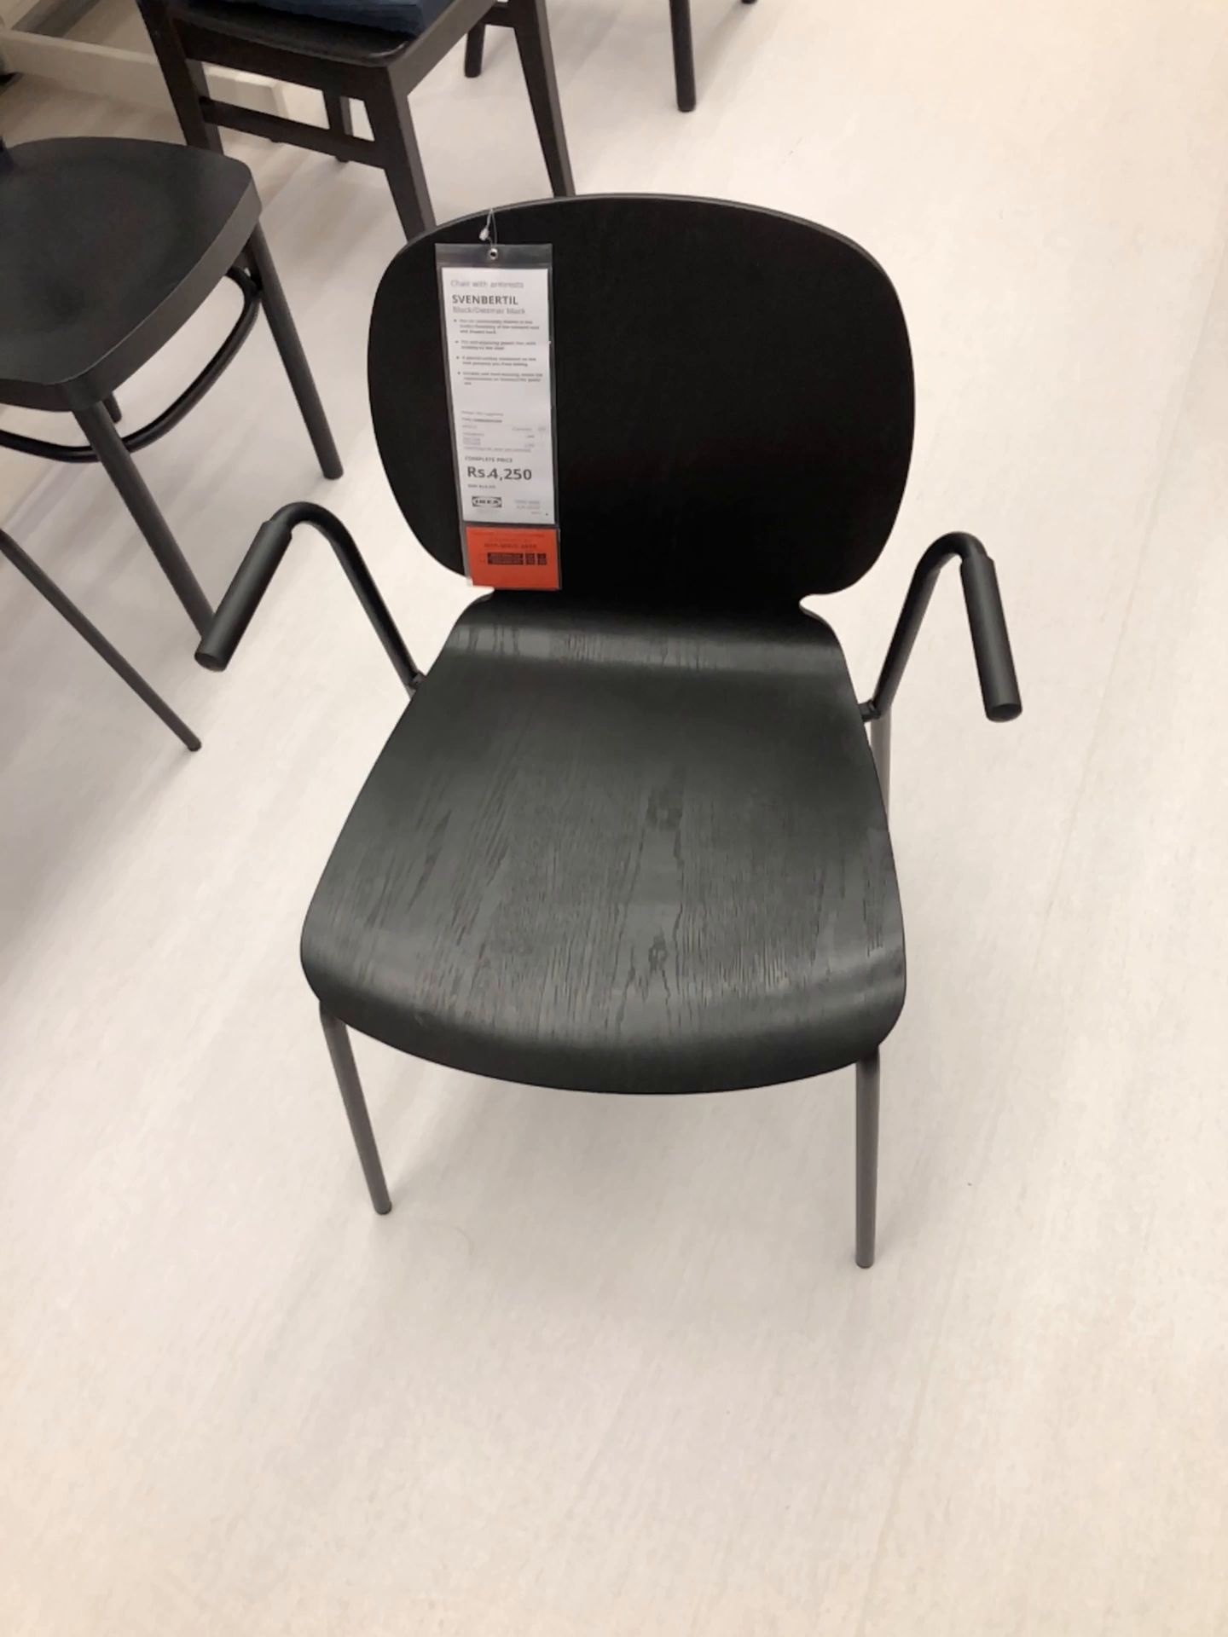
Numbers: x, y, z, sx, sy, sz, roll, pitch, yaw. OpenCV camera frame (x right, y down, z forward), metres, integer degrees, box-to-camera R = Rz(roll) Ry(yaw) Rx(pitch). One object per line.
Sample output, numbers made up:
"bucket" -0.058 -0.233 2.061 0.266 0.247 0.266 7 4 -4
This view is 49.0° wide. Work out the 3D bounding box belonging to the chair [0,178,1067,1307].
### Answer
"chair" 0.017 -0.017 1.093 0.530 0.687 0.583 6 59 8
